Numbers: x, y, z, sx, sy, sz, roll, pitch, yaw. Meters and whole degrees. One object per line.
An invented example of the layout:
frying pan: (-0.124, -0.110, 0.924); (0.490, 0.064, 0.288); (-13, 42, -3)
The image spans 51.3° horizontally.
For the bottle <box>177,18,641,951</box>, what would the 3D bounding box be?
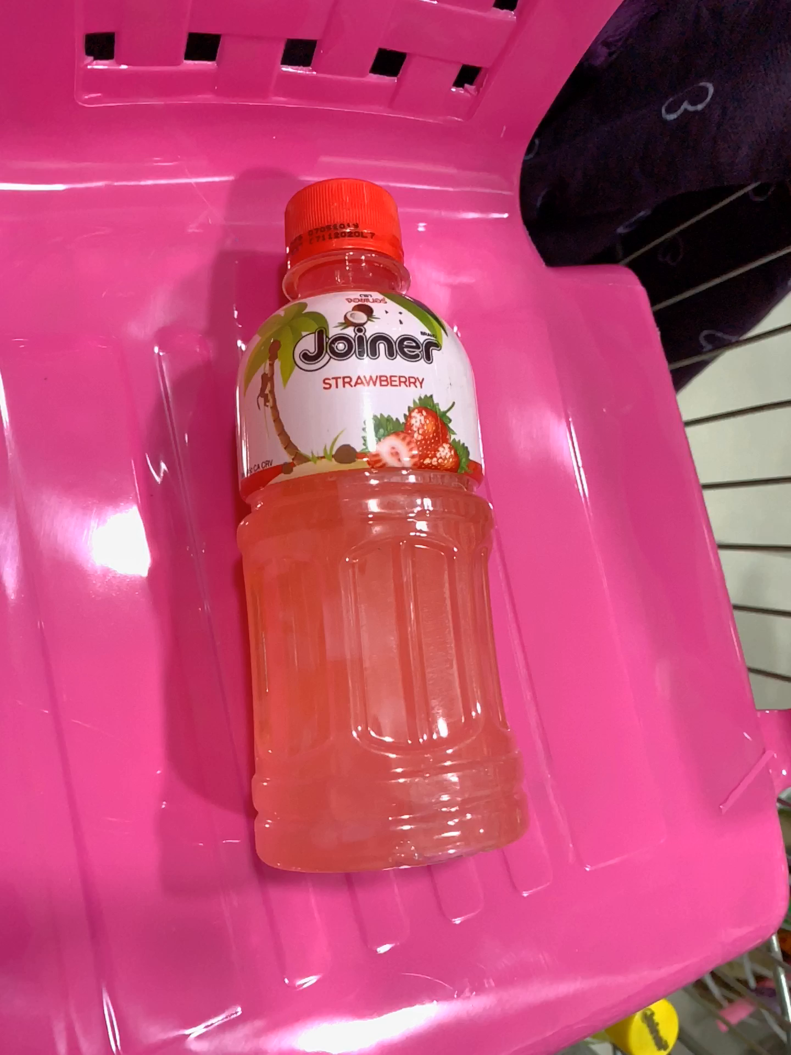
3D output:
bottle: (-0.004, -0.008, 0.186); (0.070, 0.070, 0.160); (-1, 84, -25)
